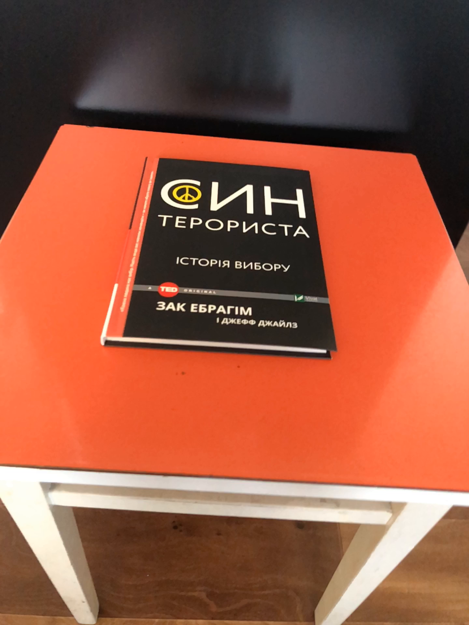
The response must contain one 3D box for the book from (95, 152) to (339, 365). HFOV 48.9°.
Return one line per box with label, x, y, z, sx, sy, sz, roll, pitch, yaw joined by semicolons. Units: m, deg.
book;-0.007;-0.051;0.369;0.140;0.016;0.198;4;47;-2
